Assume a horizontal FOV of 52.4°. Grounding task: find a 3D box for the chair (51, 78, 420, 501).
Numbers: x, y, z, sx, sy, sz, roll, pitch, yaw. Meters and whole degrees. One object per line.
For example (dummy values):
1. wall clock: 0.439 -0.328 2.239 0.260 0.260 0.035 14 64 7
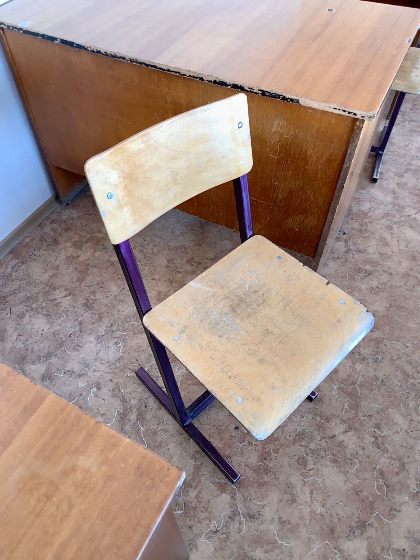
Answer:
1. chair: 0.046 0.068 0.938 0.381 0.734 0.472 -36 59 -25
